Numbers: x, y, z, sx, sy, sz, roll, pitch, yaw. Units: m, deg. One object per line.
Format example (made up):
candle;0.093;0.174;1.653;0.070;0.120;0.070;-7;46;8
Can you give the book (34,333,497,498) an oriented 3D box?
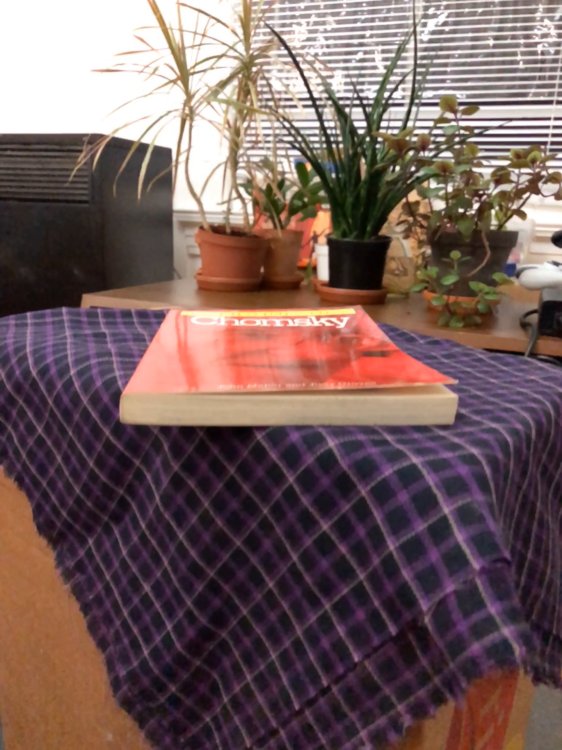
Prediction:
book;-0.014;0.009;0.360;0.180;0.020;0.241;1;14;-6
